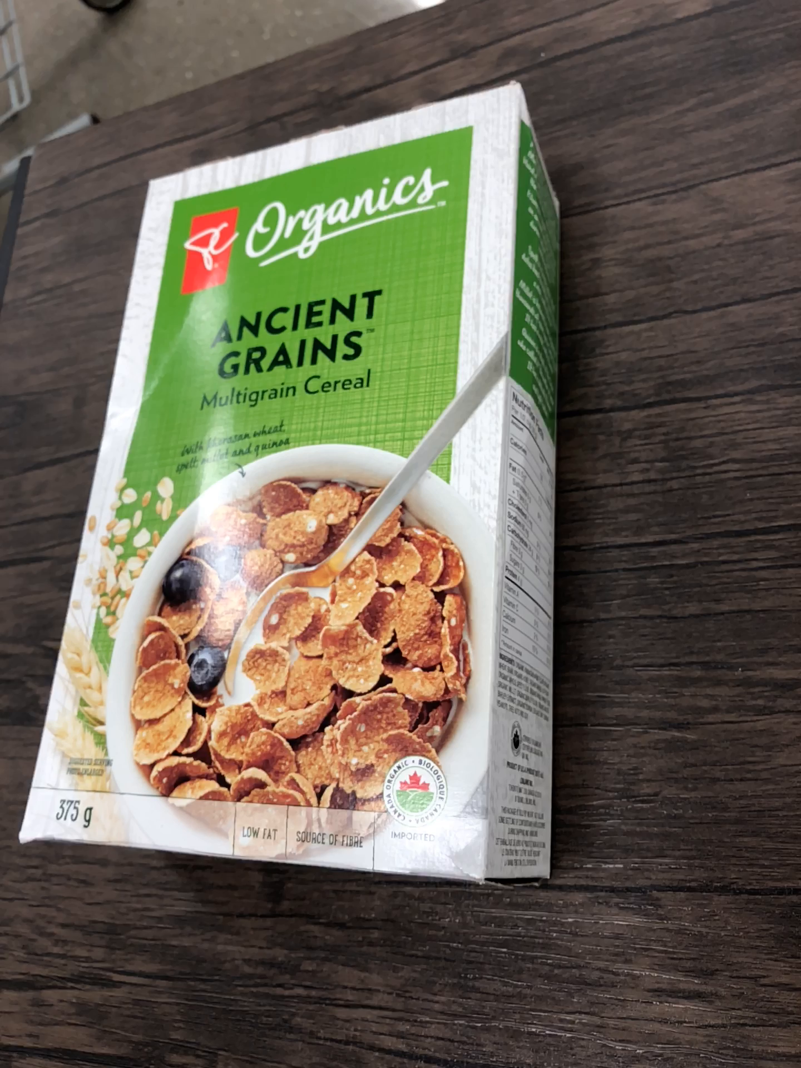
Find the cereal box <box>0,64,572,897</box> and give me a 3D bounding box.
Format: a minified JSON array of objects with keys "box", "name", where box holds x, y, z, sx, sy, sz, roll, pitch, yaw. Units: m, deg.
[{"box":[-0.033,-0.016,0.316,0.170,0.070,0.250,-5,71,23],"name":"cereal box"}]
